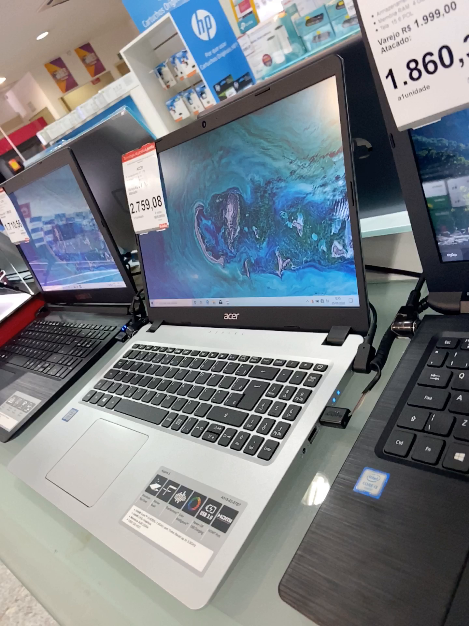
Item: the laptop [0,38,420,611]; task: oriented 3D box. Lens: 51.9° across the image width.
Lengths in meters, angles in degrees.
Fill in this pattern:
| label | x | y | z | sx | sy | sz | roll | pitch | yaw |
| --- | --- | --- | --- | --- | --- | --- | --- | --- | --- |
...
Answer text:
| label | x | y | z | sx | sy | sz | roll | pitch | yaw |
| --- | --- | --- | --- | --- | --- | --- | --- | --- | --- |
| laptop | -0.086 | -0.020 | 0.464 | 0.351 | 0.198 | 0.363 | -1 | 41 | 48 |
